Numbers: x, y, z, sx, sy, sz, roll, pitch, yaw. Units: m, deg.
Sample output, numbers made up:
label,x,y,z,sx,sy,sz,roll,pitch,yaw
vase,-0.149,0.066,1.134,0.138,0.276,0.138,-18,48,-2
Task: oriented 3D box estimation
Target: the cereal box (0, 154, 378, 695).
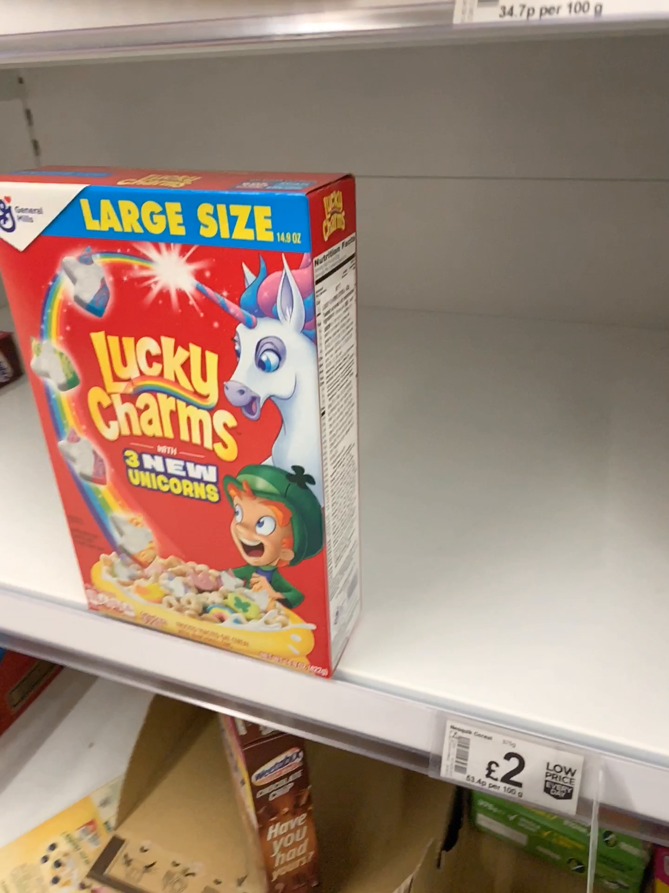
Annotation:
label,x,y,z,sx,sy,sz,roll,pitch,yaw
cereal box,-0.087,-0.012,0.404,0.210,0.287,0.071,9,30,21
